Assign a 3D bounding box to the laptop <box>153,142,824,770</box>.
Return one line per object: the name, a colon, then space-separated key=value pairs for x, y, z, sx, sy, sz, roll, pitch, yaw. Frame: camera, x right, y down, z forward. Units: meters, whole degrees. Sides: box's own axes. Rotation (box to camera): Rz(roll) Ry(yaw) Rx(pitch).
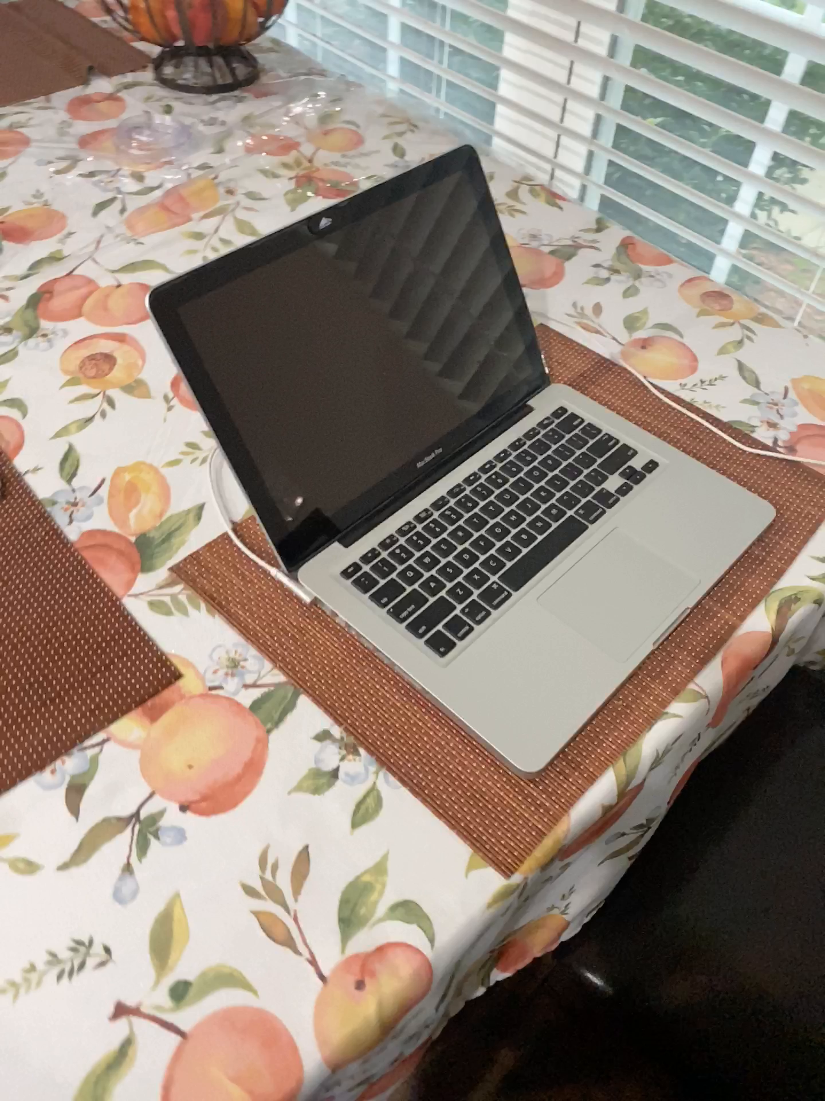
laptop: x=0.064 y=-0.100 z=0.606 sx=0.349 sy=0.162 sz=0.318 roll=38 pitch=59 yaw=24
